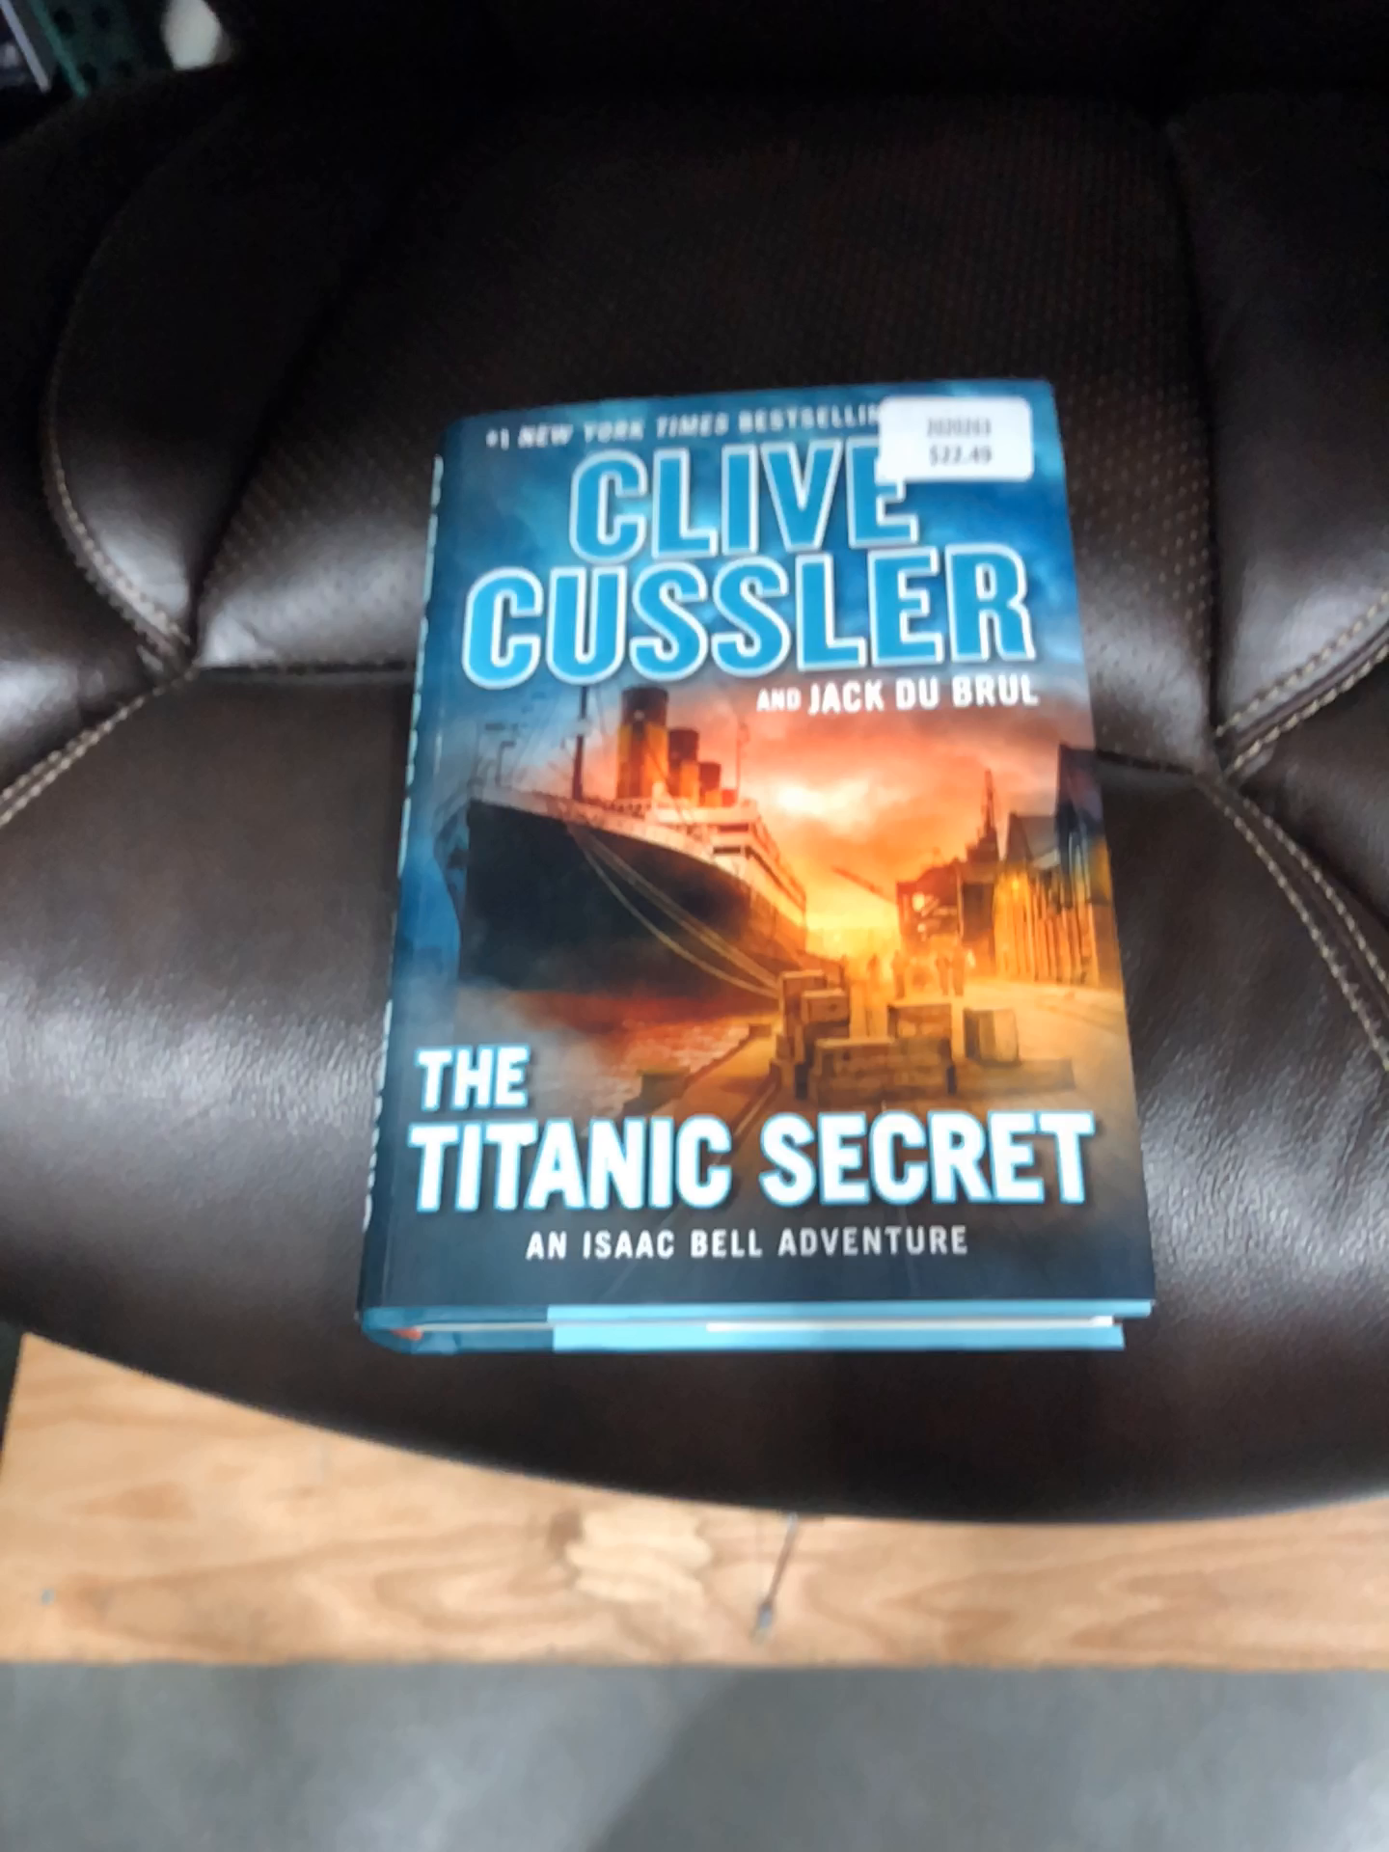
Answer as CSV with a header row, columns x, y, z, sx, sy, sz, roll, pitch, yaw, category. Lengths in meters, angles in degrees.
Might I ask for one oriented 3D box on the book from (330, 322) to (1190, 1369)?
x,y,z,sx,sy,sz,roll,pitch,yaw,category
0.014,-0.027,0.367,0.165,0.040,0.249,-2,66,6,book
